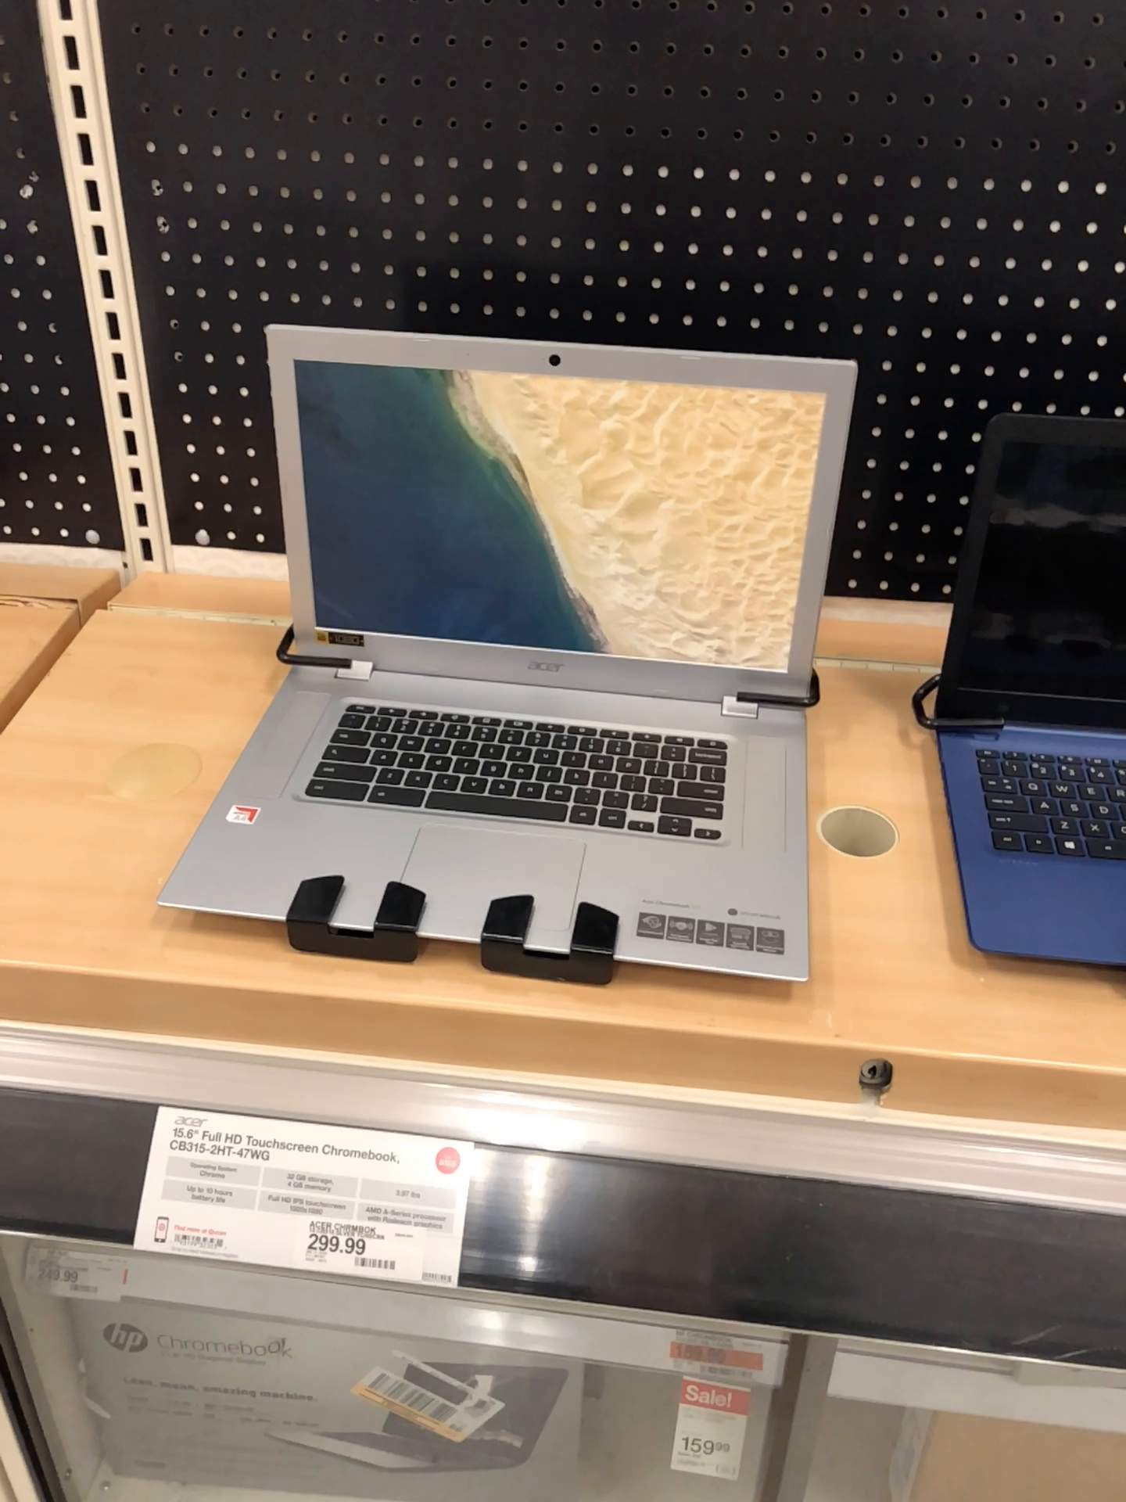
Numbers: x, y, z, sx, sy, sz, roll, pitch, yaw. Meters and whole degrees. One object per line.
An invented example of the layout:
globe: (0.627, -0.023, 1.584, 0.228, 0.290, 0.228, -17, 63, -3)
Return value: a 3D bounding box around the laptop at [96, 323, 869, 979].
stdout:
laptop: (-0.027, -0.082, 0.758, 0.371, 0.246, 0.287, 5, 33, 7)
